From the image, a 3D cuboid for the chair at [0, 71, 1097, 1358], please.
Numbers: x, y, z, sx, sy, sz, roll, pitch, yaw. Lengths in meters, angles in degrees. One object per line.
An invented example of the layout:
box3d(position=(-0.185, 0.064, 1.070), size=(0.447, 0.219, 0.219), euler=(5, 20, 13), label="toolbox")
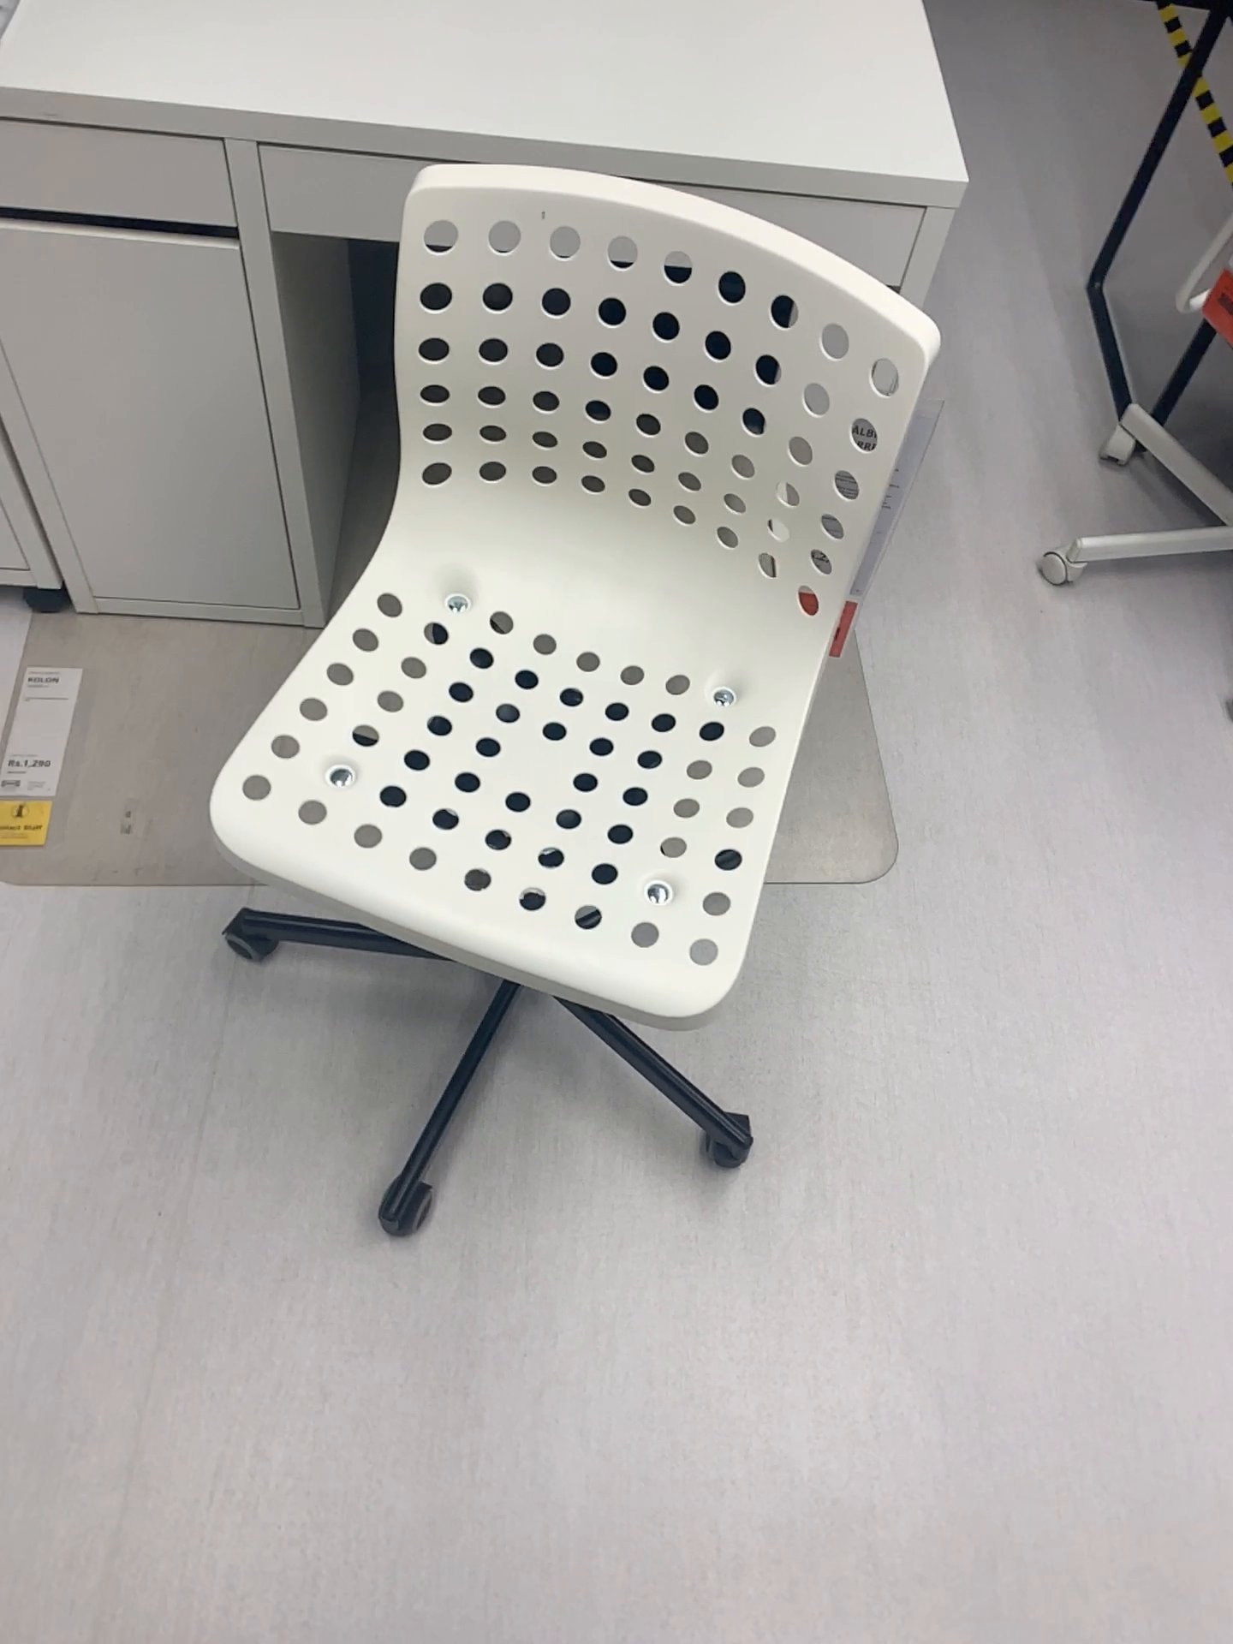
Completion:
box3d(position=(-0.091, -0.034, 1.146), size=(0.680, 0.788, 0.671), euler=(18, 58, 5), label="chair")
